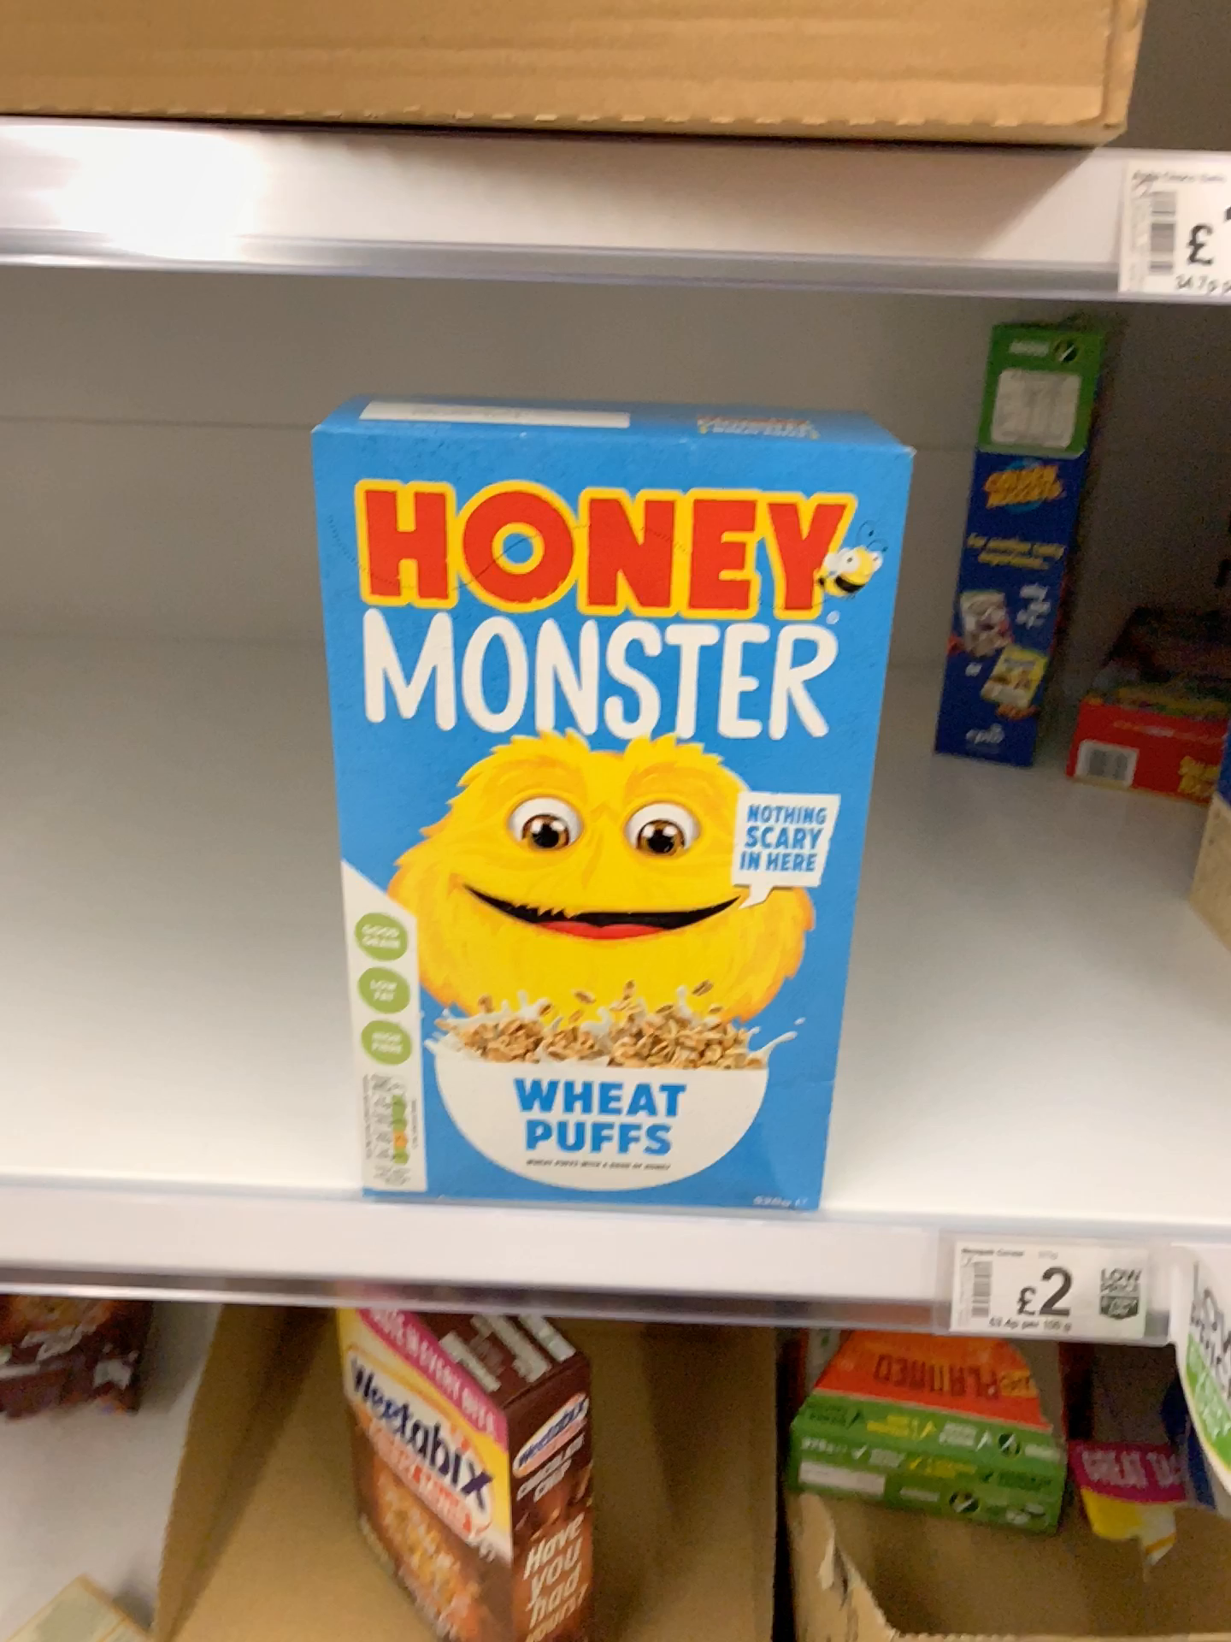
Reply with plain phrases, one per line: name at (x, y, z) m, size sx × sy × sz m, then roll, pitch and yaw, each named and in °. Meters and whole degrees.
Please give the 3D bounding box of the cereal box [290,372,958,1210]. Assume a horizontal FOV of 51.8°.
cereal box at (-0.001, -0.005, 0.482) m, size 0.200 × 0.298 × 0.091 m, roll 2°, pitch 24°, yaw 1°
